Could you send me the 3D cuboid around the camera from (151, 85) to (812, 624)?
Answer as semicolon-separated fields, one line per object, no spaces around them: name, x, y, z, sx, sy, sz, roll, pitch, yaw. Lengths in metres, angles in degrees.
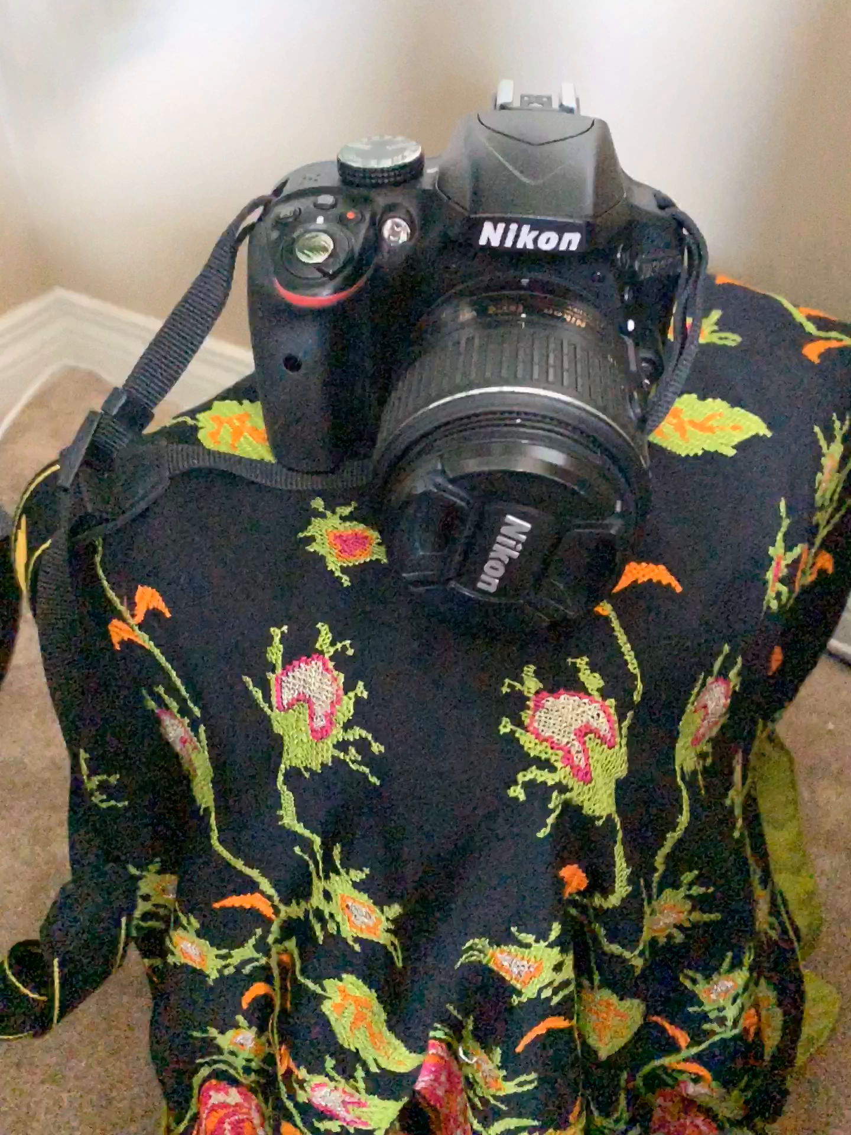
camera;0.012;-0.055;0.228;0.120;0.099;0.091;2;44;2
